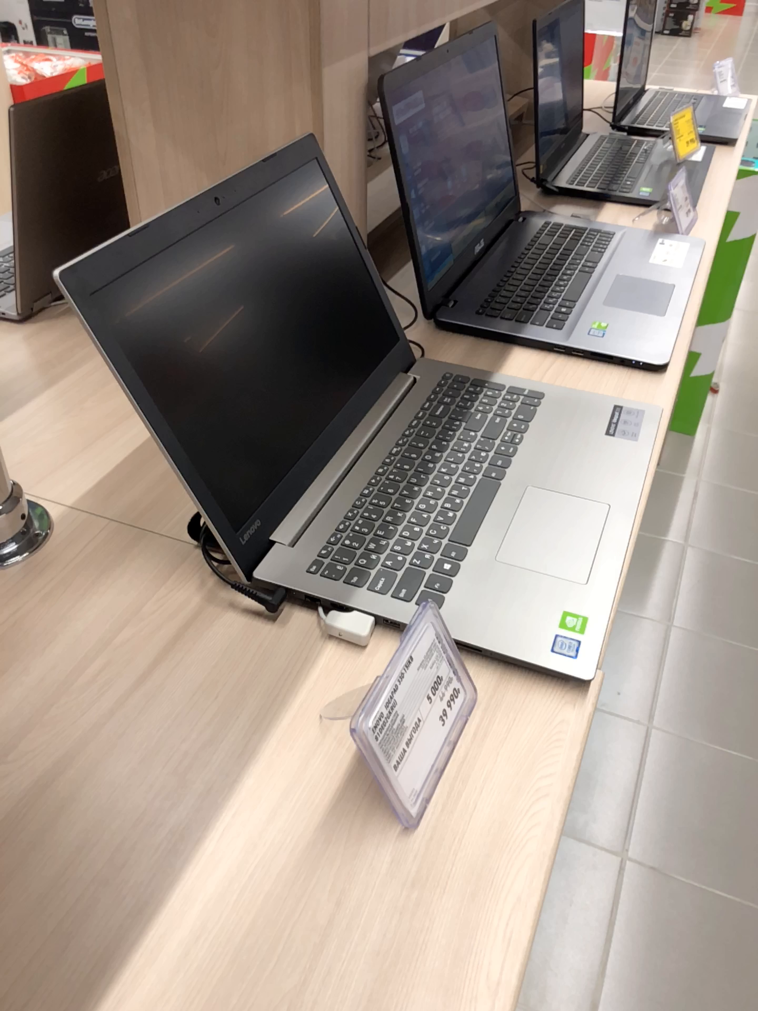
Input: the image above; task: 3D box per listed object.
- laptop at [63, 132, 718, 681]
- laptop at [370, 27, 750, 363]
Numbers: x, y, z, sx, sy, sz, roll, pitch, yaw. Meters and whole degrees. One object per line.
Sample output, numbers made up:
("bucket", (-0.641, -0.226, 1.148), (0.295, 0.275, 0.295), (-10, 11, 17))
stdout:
("laptop", (0.040, -0.120, 0.662), (0.365, 0.208, 0.372), (15, 39, 16))
("laptop", (0.228, -0.402, 1.015), (0.334, 0.246, 0.404), (15, 39, 16))
